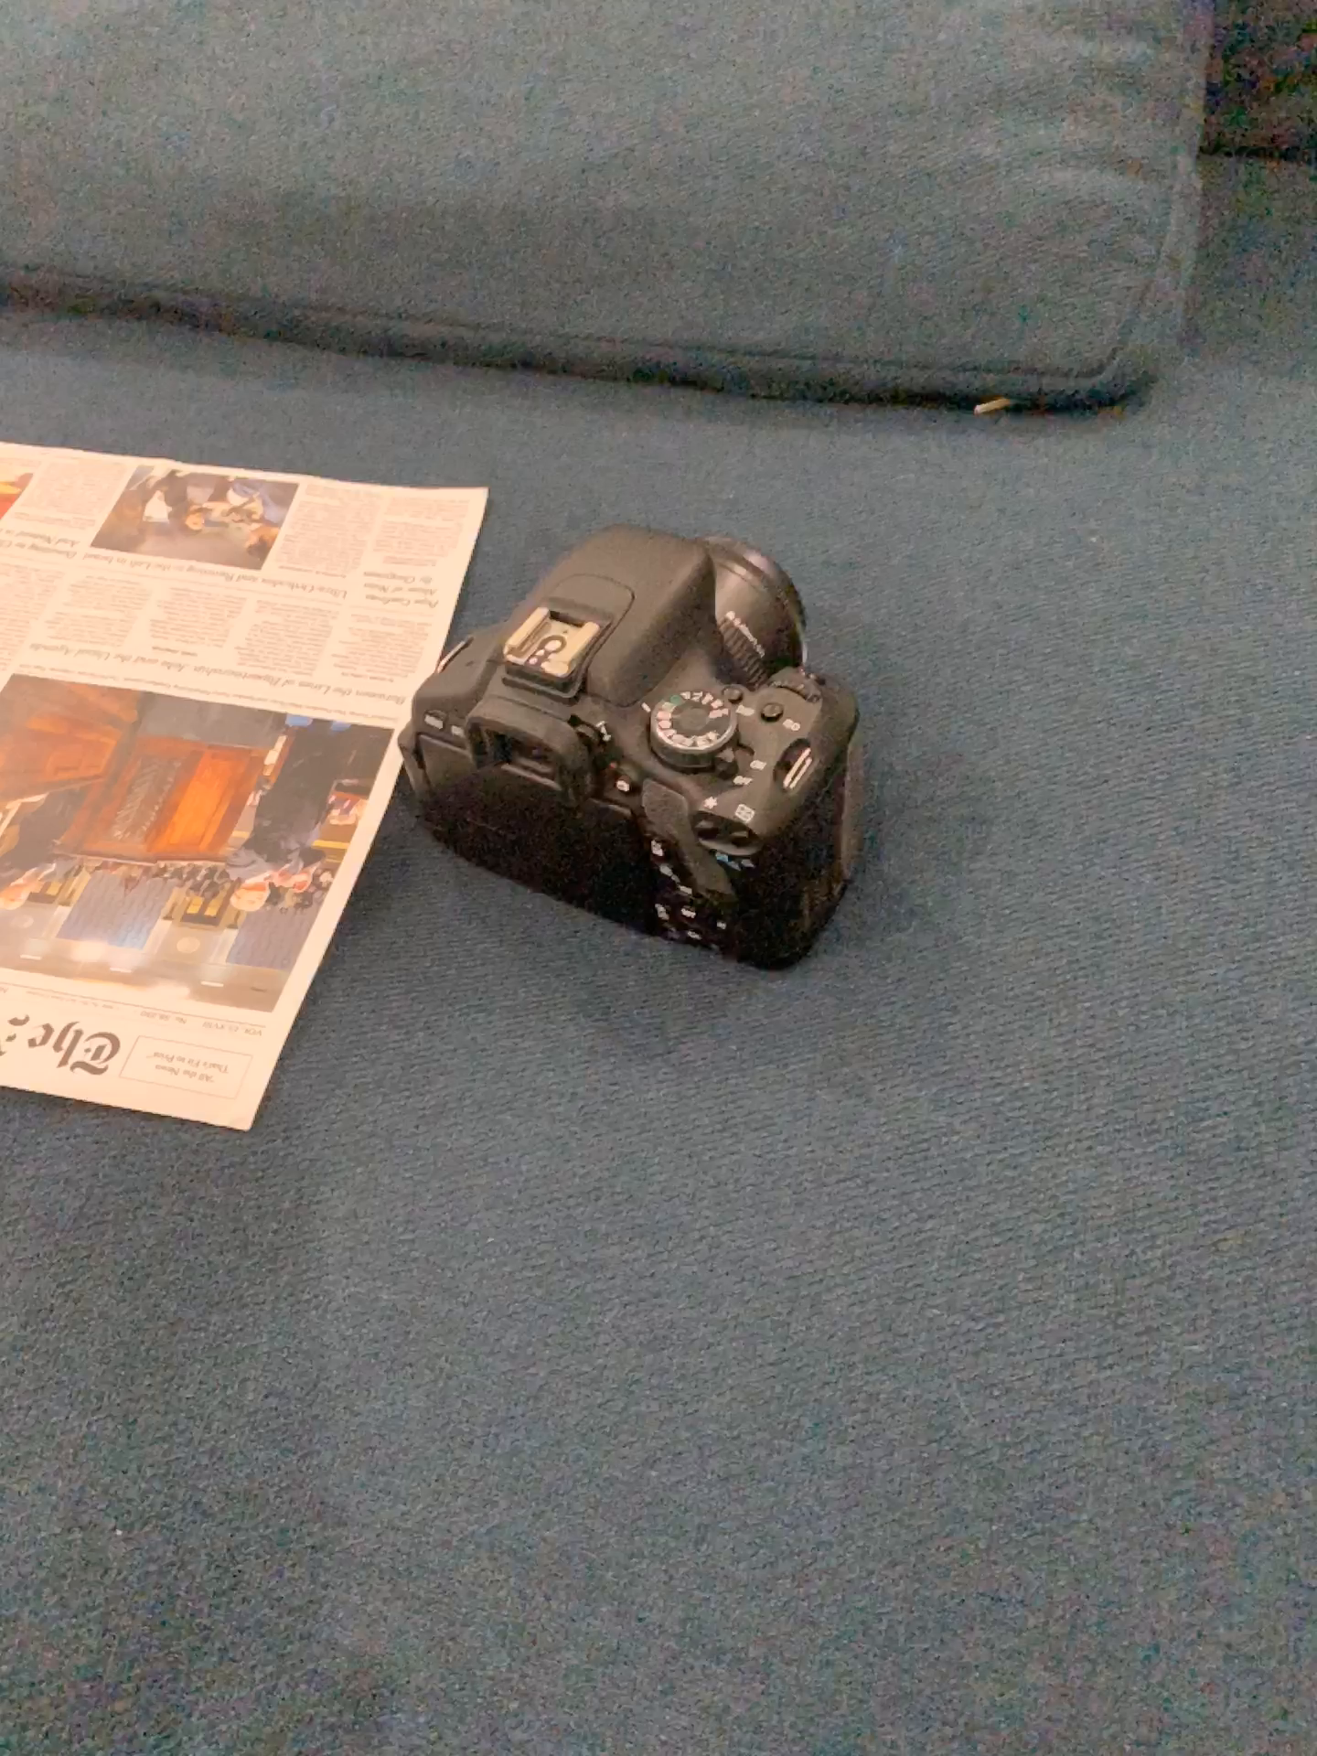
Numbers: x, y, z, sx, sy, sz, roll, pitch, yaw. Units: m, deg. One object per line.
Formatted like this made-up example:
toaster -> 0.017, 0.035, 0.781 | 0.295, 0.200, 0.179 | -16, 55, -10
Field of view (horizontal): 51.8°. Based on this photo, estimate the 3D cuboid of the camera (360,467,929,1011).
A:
camera -> 0.000, -0.050, 0.456 | 0.140, 0.100, 0.110 | 20, 54, 21
